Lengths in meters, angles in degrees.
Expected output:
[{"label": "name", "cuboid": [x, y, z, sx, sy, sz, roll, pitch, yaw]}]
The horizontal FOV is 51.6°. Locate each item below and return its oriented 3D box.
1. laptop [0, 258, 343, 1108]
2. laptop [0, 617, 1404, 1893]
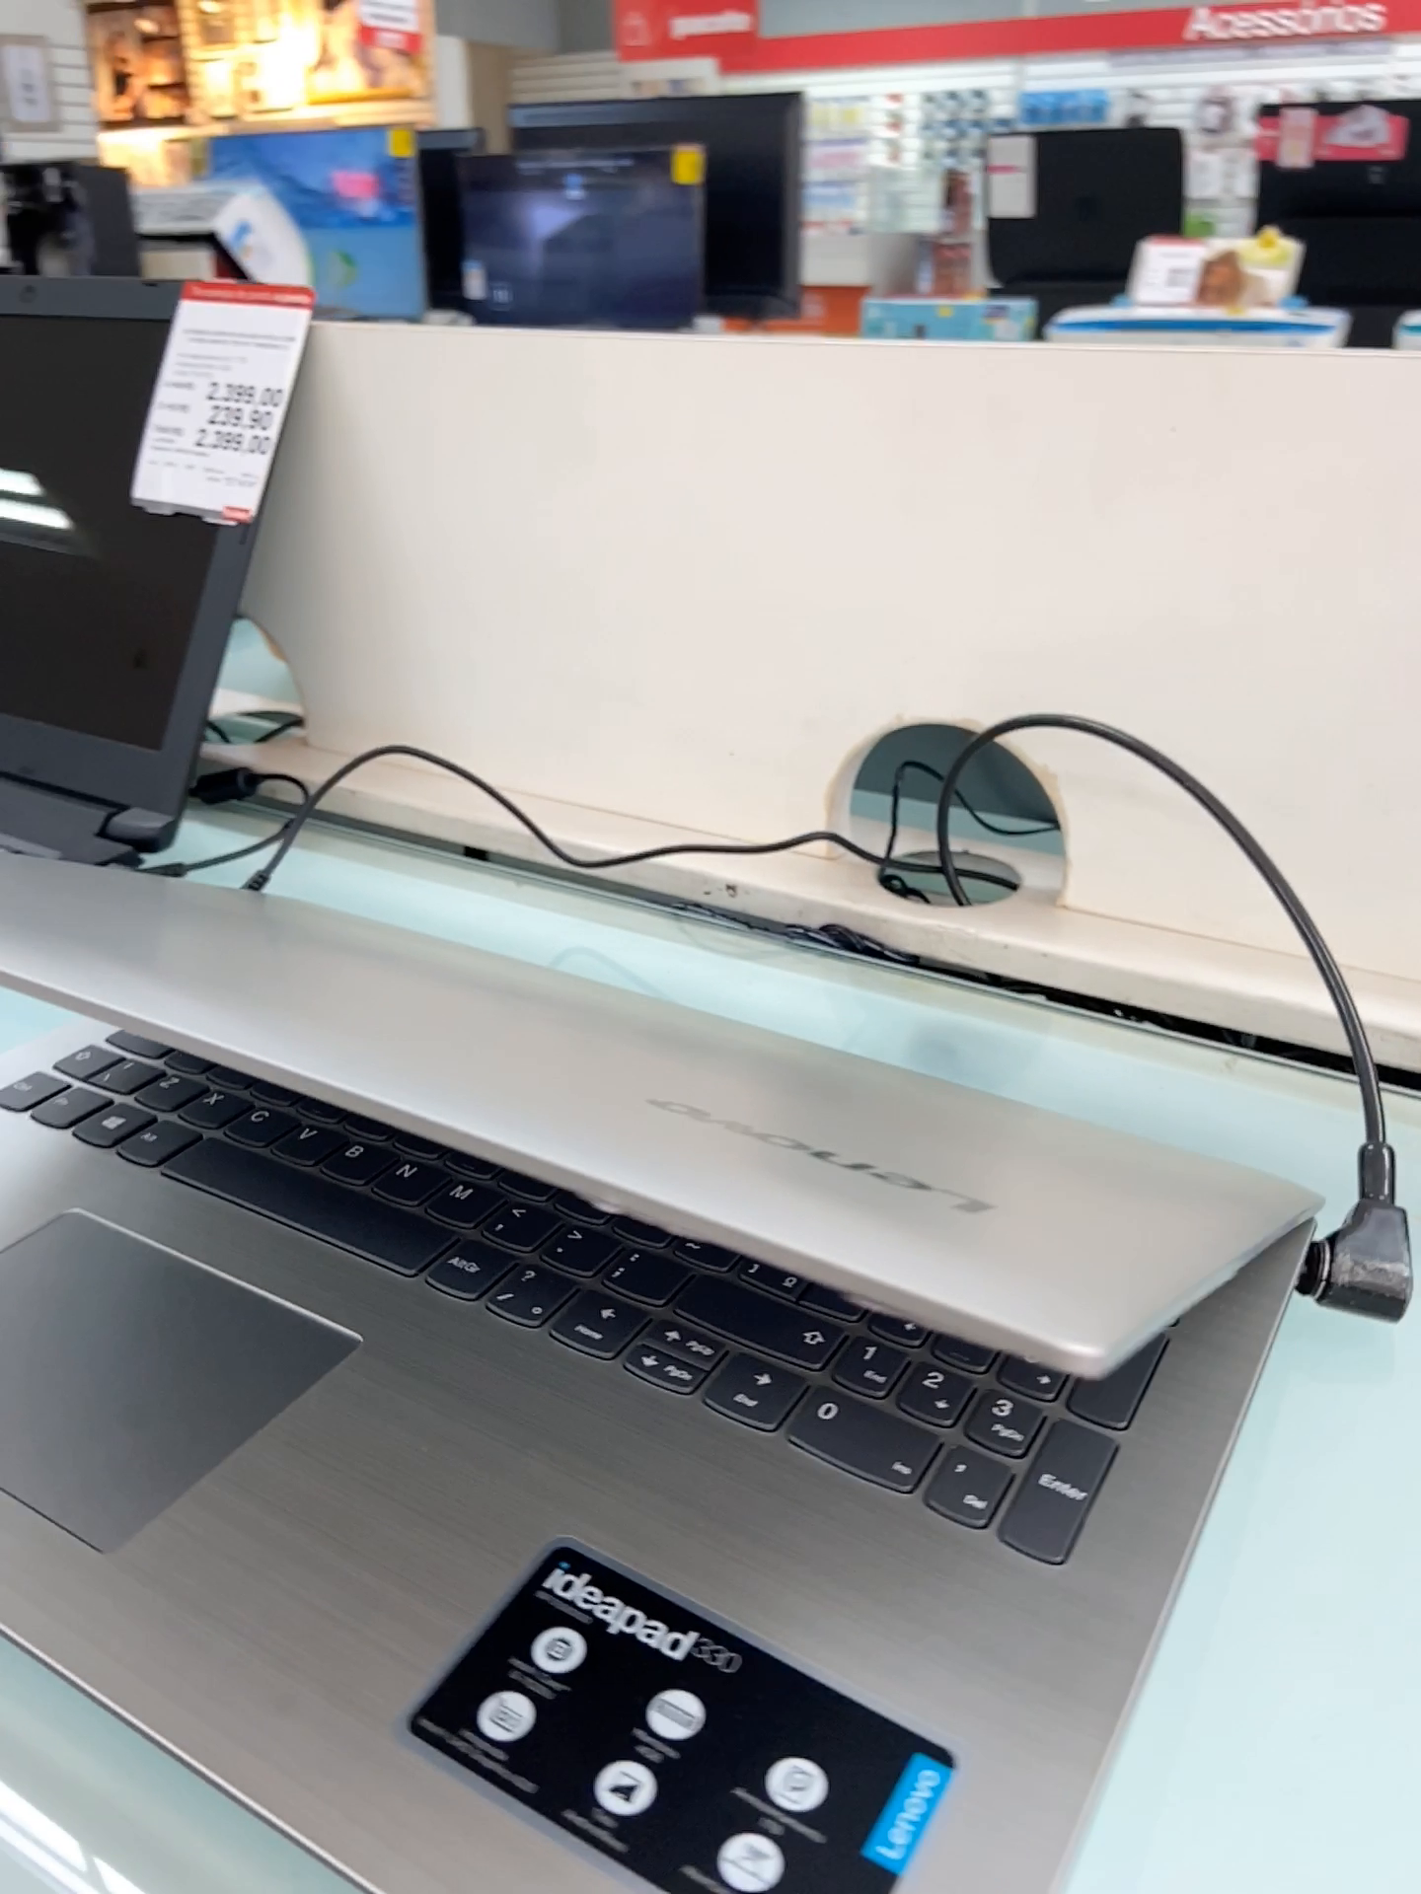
[{"label": "laptop", "cuboid": [-0.437, -0.172, 0.640, 0.355, 0.211, 0.402, 14, 30, 24]}, {"label": "laptop", "cuboid": [-0.070, 0.025, 0.340, 0.369, 0.114, 0.247, 13, 30, 29]}]
